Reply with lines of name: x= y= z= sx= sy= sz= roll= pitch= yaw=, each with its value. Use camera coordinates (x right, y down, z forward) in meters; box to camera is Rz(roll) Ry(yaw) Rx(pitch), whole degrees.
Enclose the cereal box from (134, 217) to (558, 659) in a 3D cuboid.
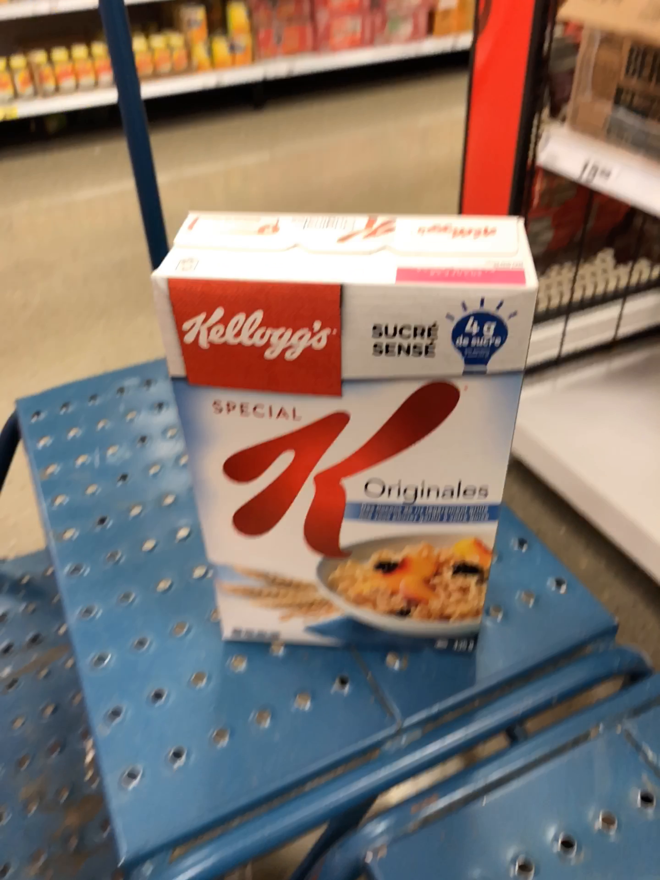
cereal box: x=0.014 y=0.014 z=0.486 sx=0.210 sy=0.299 sz=0.080 roll=2 pitch=39 yaw=6
